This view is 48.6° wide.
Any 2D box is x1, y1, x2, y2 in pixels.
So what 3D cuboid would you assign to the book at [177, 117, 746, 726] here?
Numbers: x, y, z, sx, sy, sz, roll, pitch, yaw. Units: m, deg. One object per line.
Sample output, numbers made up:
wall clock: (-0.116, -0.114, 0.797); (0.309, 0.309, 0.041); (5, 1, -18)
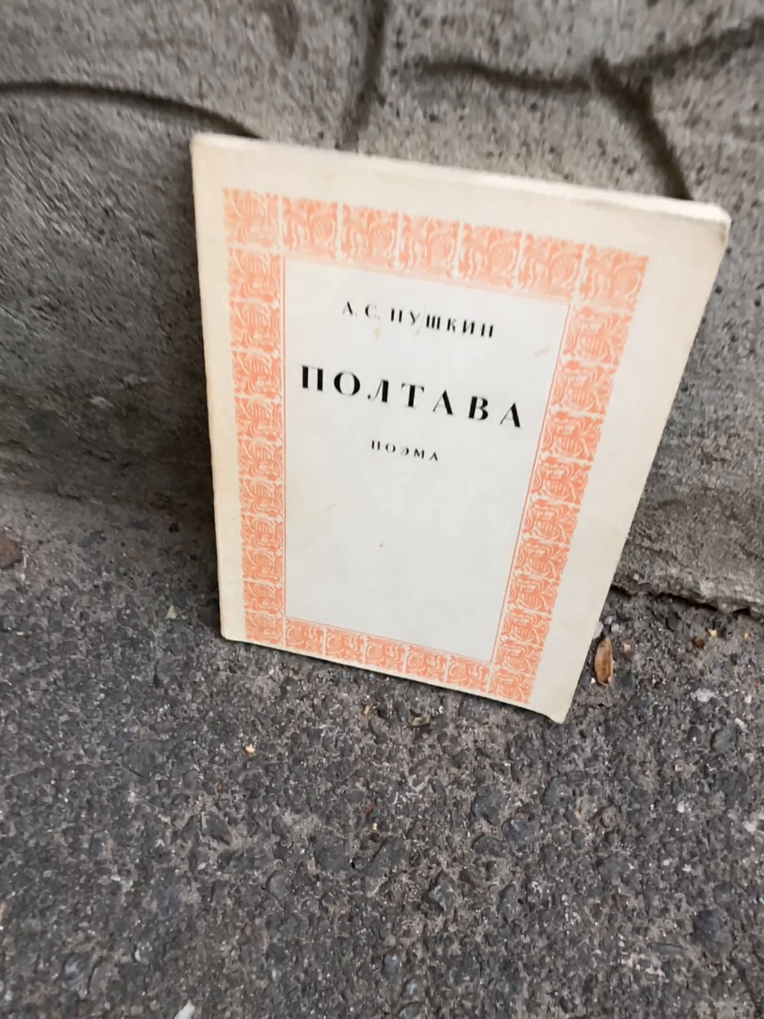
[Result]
book: (0.012, -0.014, 0.289); (0.150, 0.199, 0.020); (13, 39, 9)
